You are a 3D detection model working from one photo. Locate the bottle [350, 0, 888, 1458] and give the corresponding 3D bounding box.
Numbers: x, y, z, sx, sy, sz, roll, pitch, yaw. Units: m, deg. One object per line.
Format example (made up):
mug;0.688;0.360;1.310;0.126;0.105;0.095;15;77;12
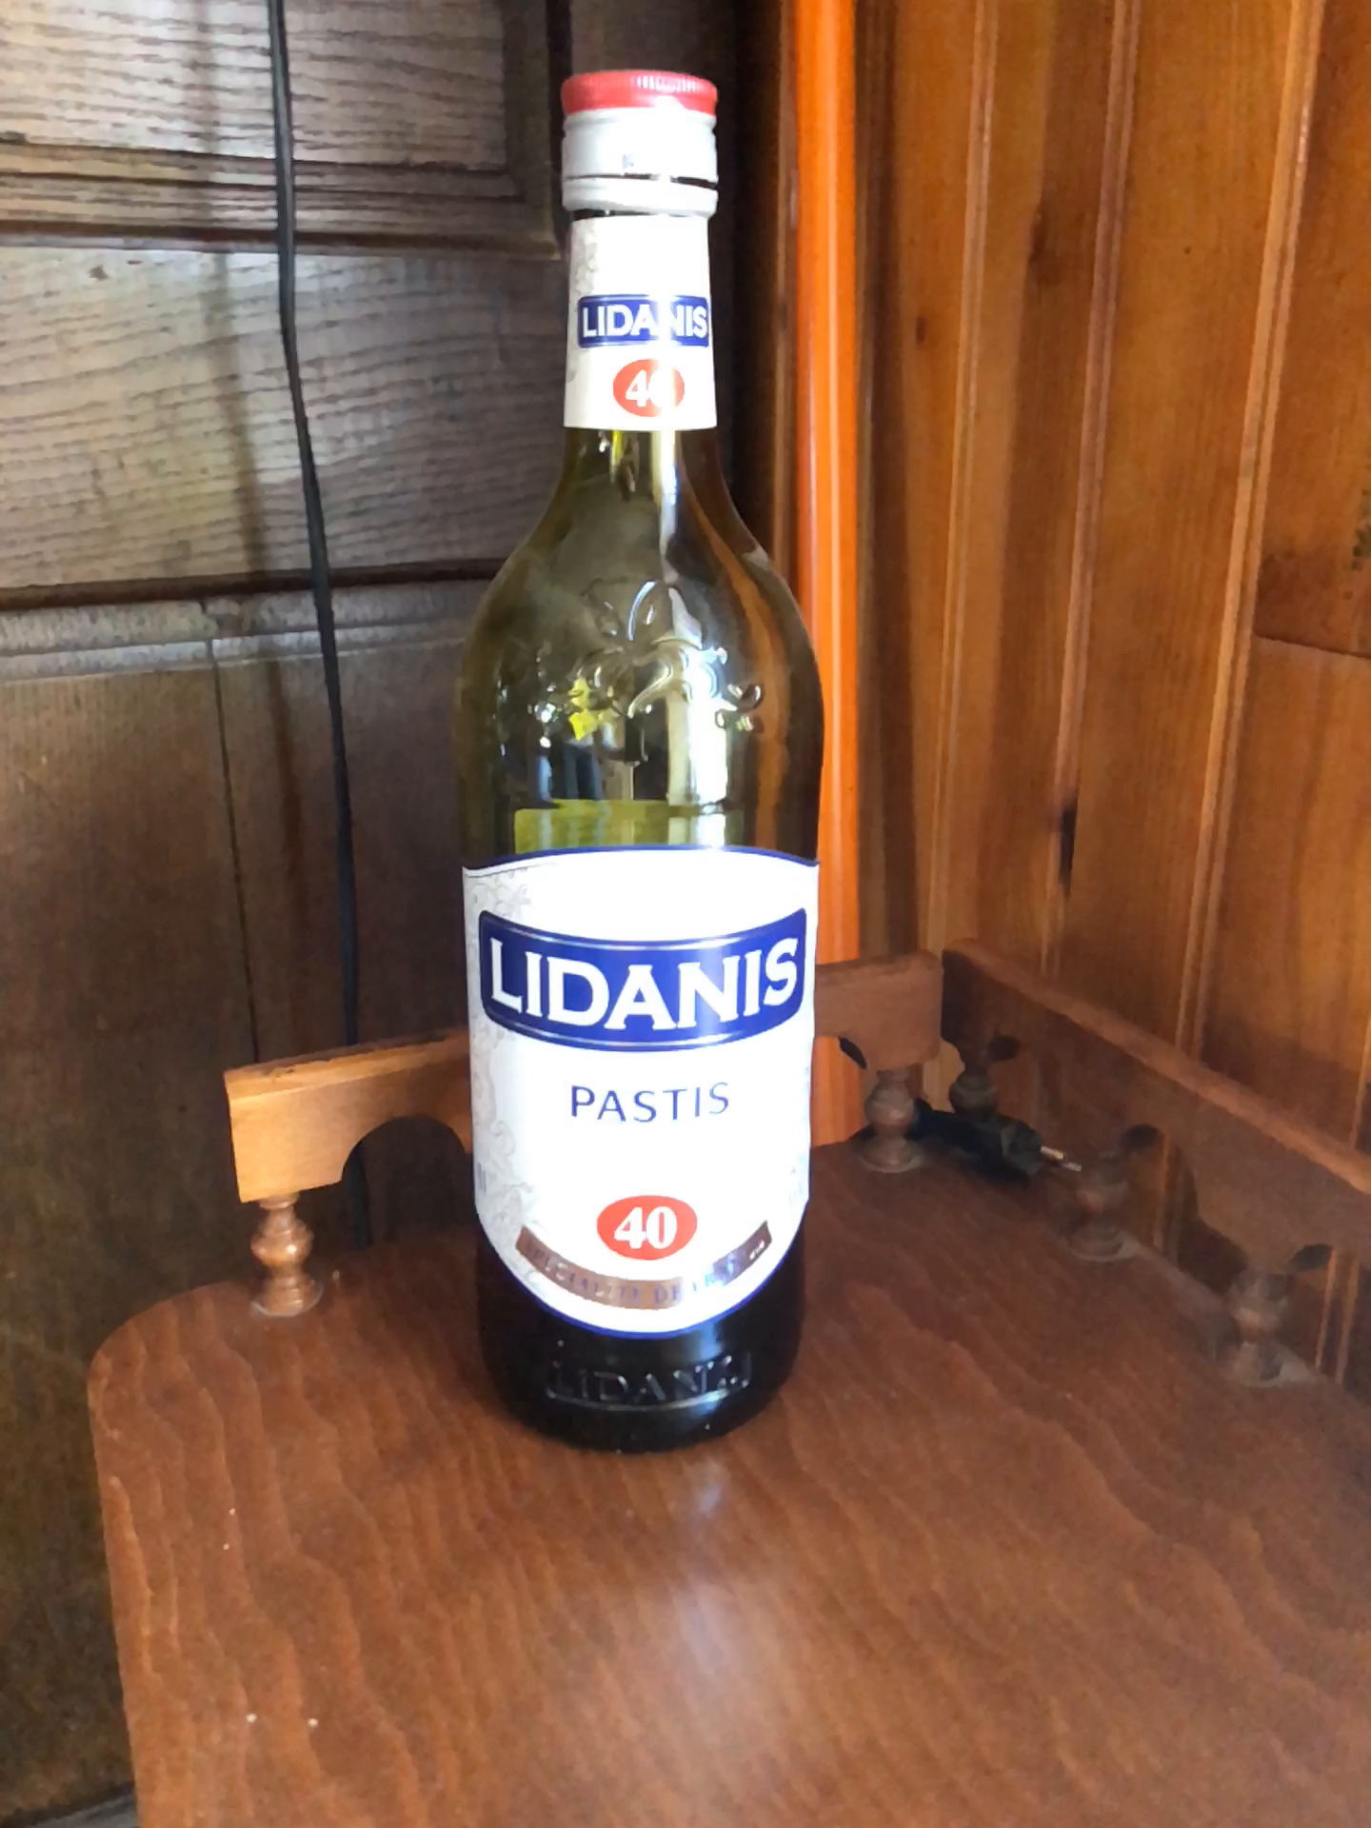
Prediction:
bottle;-0.014;-0.030;0.340;0.090;0.299;0.080;-2;20;-5
